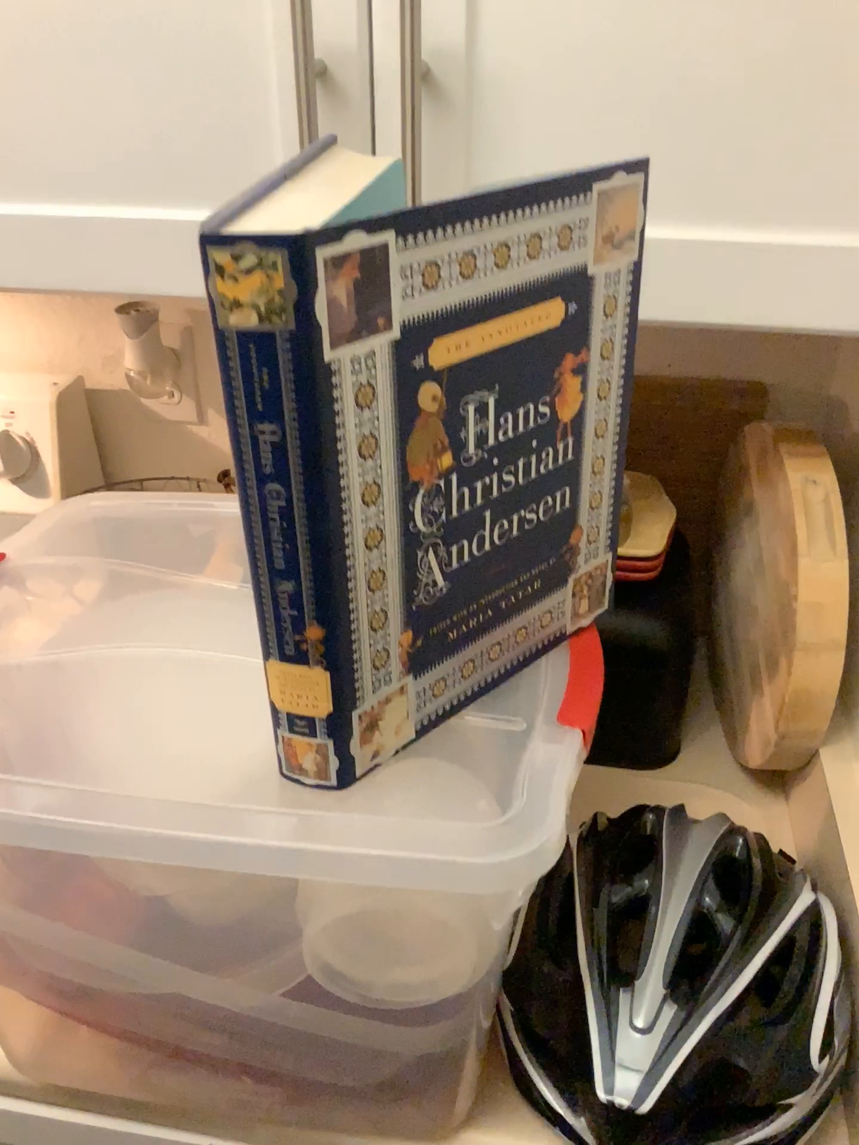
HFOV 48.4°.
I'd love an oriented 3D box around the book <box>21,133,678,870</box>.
[{"bbox_3d":[-0.014,-0.059,0.486,0.200,0.260,0.250,12,34,17],"label":"book"}]
